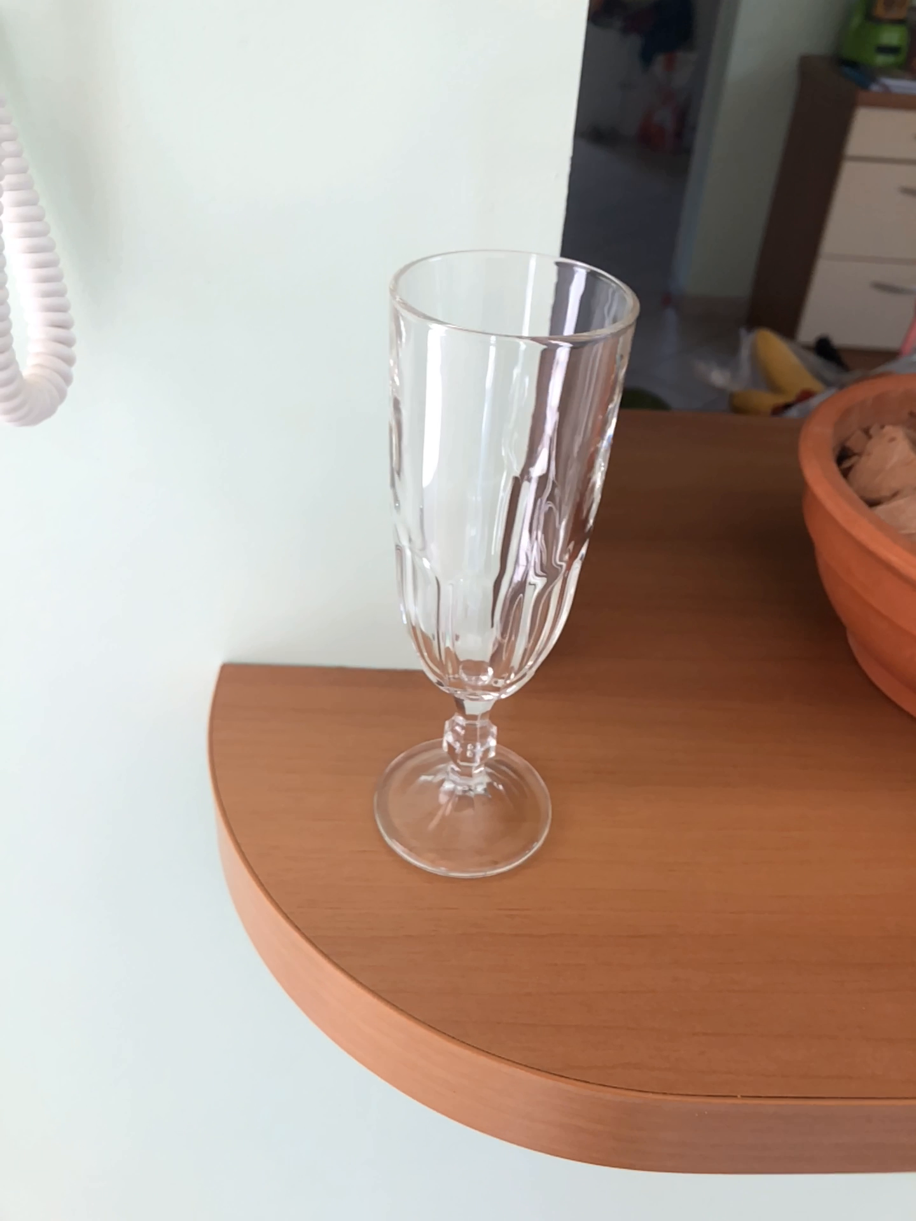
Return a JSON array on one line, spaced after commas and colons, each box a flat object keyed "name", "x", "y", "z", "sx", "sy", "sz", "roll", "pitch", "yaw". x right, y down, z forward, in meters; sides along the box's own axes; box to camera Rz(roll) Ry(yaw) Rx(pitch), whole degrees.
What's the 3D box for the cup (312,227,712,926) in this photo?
[{"name": "cup", "x": 0.009, "y": -0.004, "z": 0.278, "sx": 0.070, "sy": 0.169, "sz": 0.060, "roll": 21, "pitch": 40, "yaw": 21}]
